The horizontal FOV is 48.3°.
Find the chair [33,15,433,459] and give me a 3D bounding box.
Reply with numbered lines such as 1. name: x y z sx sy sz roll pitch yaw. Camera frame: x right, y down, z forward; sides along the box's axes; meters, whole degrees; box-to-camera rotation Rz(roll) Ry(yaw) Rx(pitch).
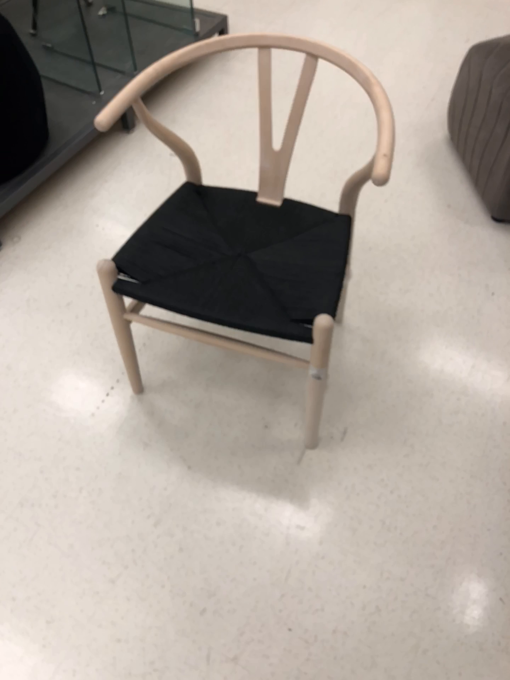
1. chair: 0.000 -0.212 1.322 0.559 0.728 0.557 16 55 13
